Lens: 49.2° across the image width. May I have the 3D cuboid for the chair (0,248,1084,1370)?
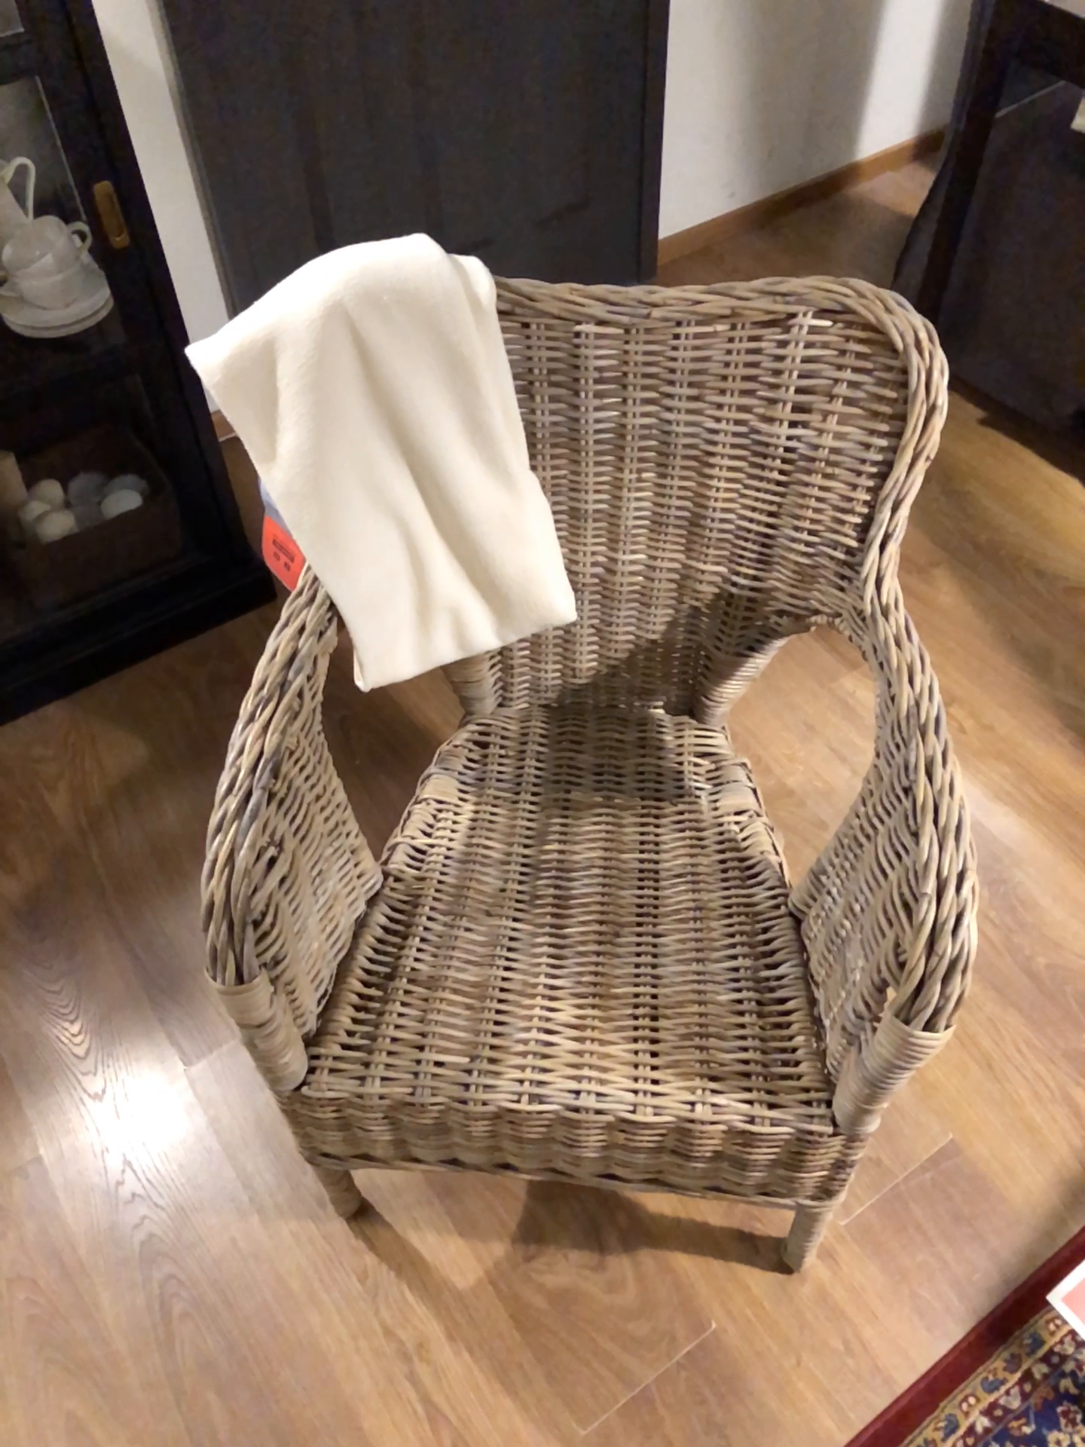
[{"bbox_3d":[0.040,0.121,1.087,0.620,0.816,0.633,3,51,4],"label":"chair"}]
